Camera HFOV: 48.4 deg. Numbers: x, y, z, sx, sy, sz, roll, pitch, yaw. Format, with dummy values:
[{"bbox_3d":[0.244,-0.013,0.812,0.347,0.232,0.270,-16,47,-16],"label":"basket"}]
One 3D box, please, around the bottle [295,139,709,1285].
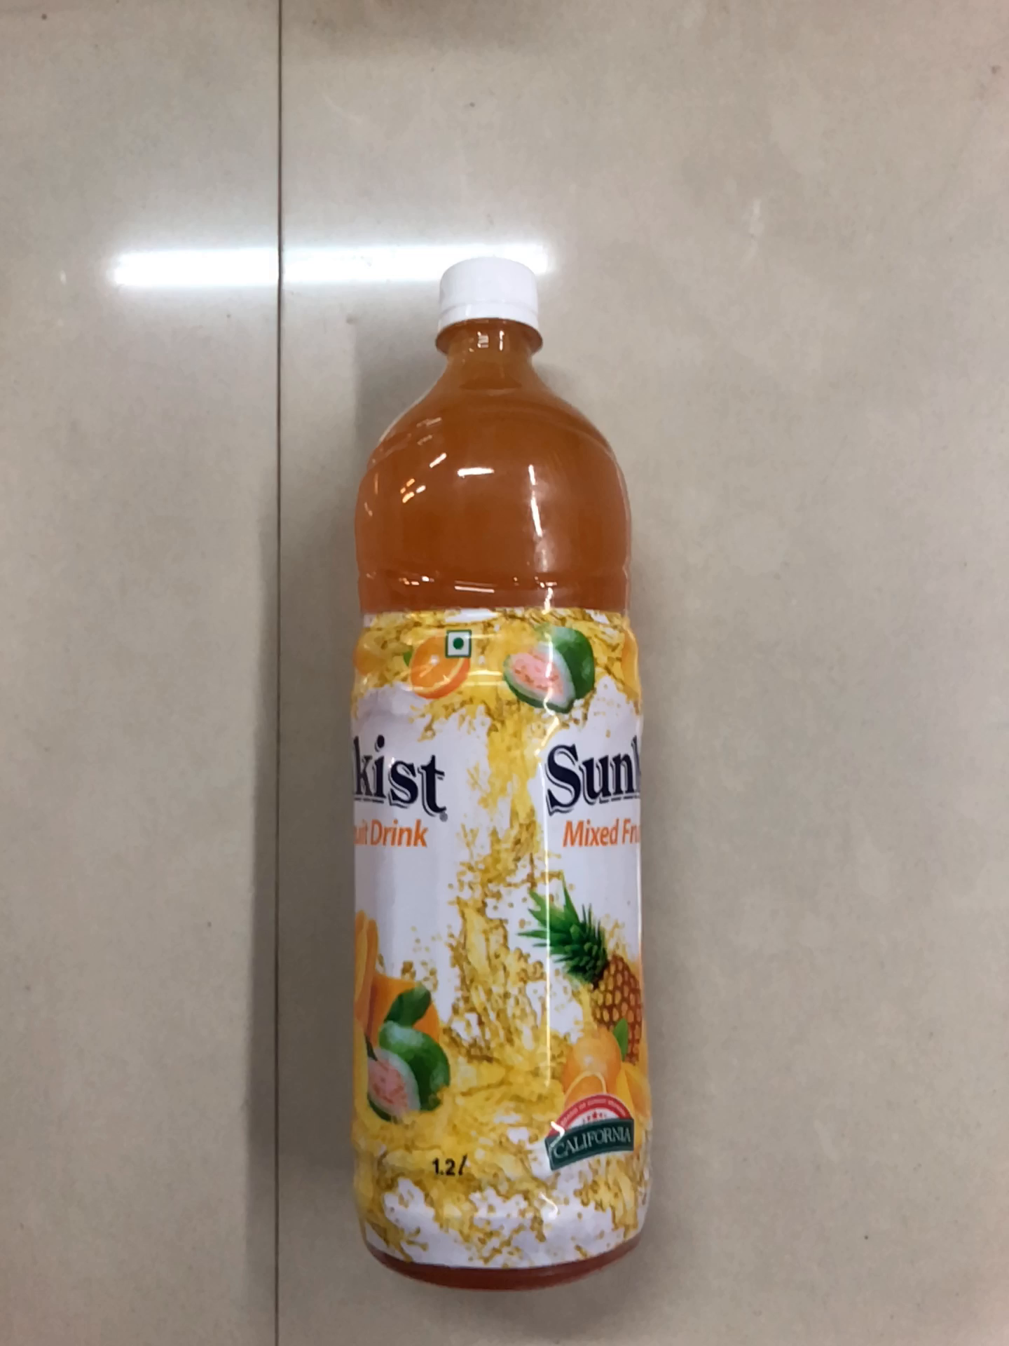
[{"bbox_3d":[-0.001,0.007,0.325,0.100,0.080,0.290,-1,84,2],"label":"bottle"}]
